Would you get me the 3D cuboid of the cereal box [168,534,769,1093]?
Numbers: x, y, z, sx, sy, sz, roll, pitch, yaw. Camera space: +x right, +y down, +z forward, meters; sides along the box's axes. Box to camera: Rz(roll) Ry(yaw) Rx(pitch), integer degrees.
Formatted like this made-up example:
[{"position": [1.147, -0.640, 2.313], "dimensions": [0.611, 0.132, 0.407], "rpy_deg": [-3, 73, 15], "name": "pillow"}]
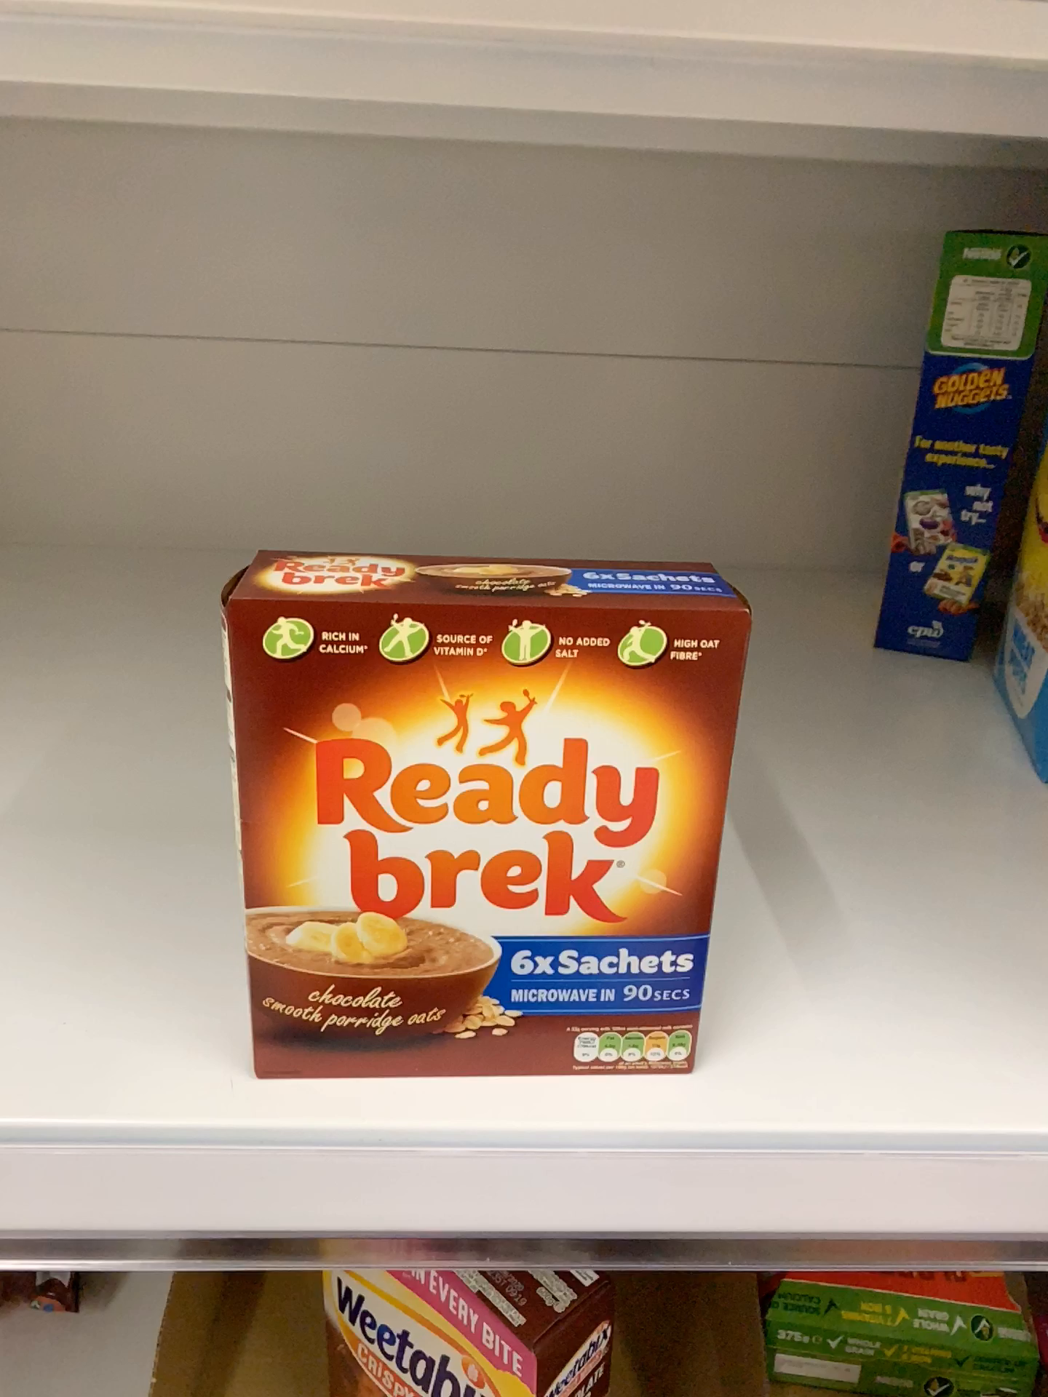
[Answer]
[{"position": [-0.021, 0.044, 0.387], "dimensions": [0.180, 0.189, 0.060], "rpy_deg": [1, 22, -5], "name": "cereal box"}]
